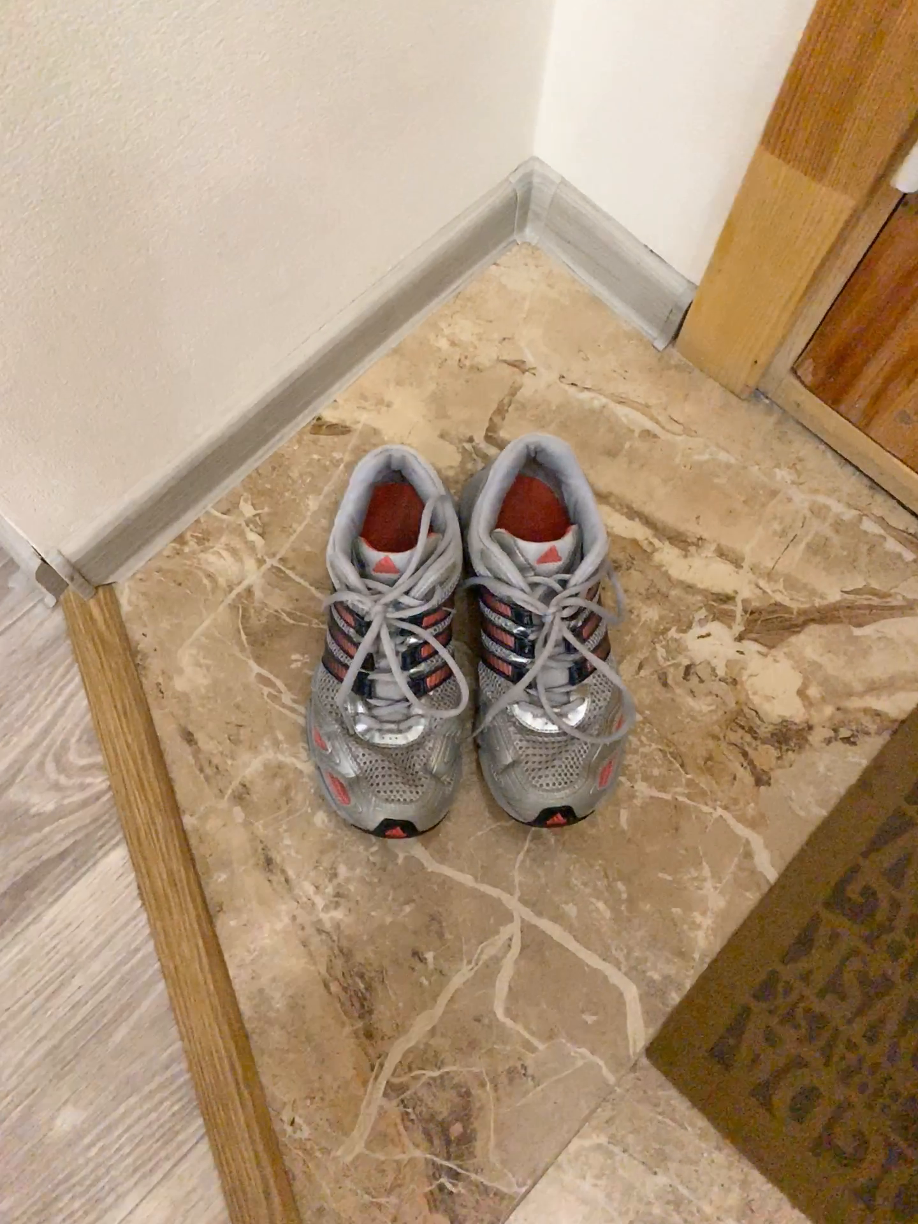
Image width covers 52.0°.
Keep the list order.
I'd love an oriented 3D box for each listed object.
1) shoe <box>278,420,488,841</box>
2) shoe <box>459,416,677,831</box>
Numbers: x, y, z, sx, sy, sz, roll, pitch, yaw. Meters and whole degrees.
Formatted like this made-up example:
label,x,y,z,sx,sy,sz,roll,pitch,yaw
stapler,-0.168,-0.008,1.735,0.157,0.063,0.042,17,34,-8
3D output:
label,x,y,z,sx,sy,sz,roll,pitch,yaw
shoe,-0.041,0.012,0.576,0.110,0.090,0.240,1,71,-2
shoe,0.058,0.008,0.583,0.110,0.090,0.240,0,71,-2
